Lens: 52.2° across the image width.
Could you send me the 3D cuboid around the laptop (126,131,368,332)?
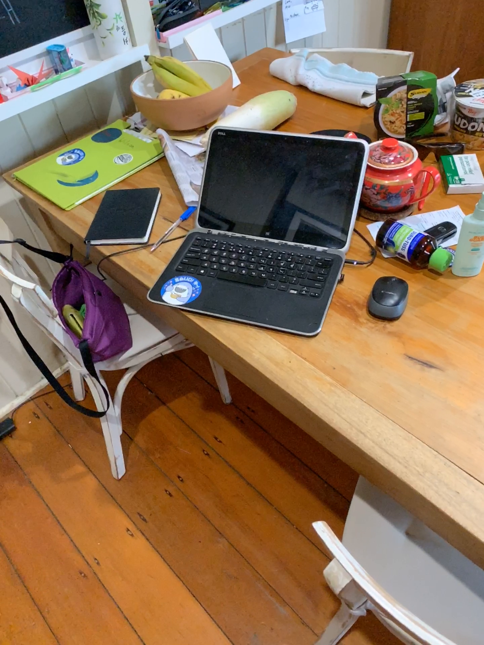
[{"bbox_3d":[0.030,-0.181,0.877,0.303,0.139,0.340,12,51,18],"label":"laptop"}]
